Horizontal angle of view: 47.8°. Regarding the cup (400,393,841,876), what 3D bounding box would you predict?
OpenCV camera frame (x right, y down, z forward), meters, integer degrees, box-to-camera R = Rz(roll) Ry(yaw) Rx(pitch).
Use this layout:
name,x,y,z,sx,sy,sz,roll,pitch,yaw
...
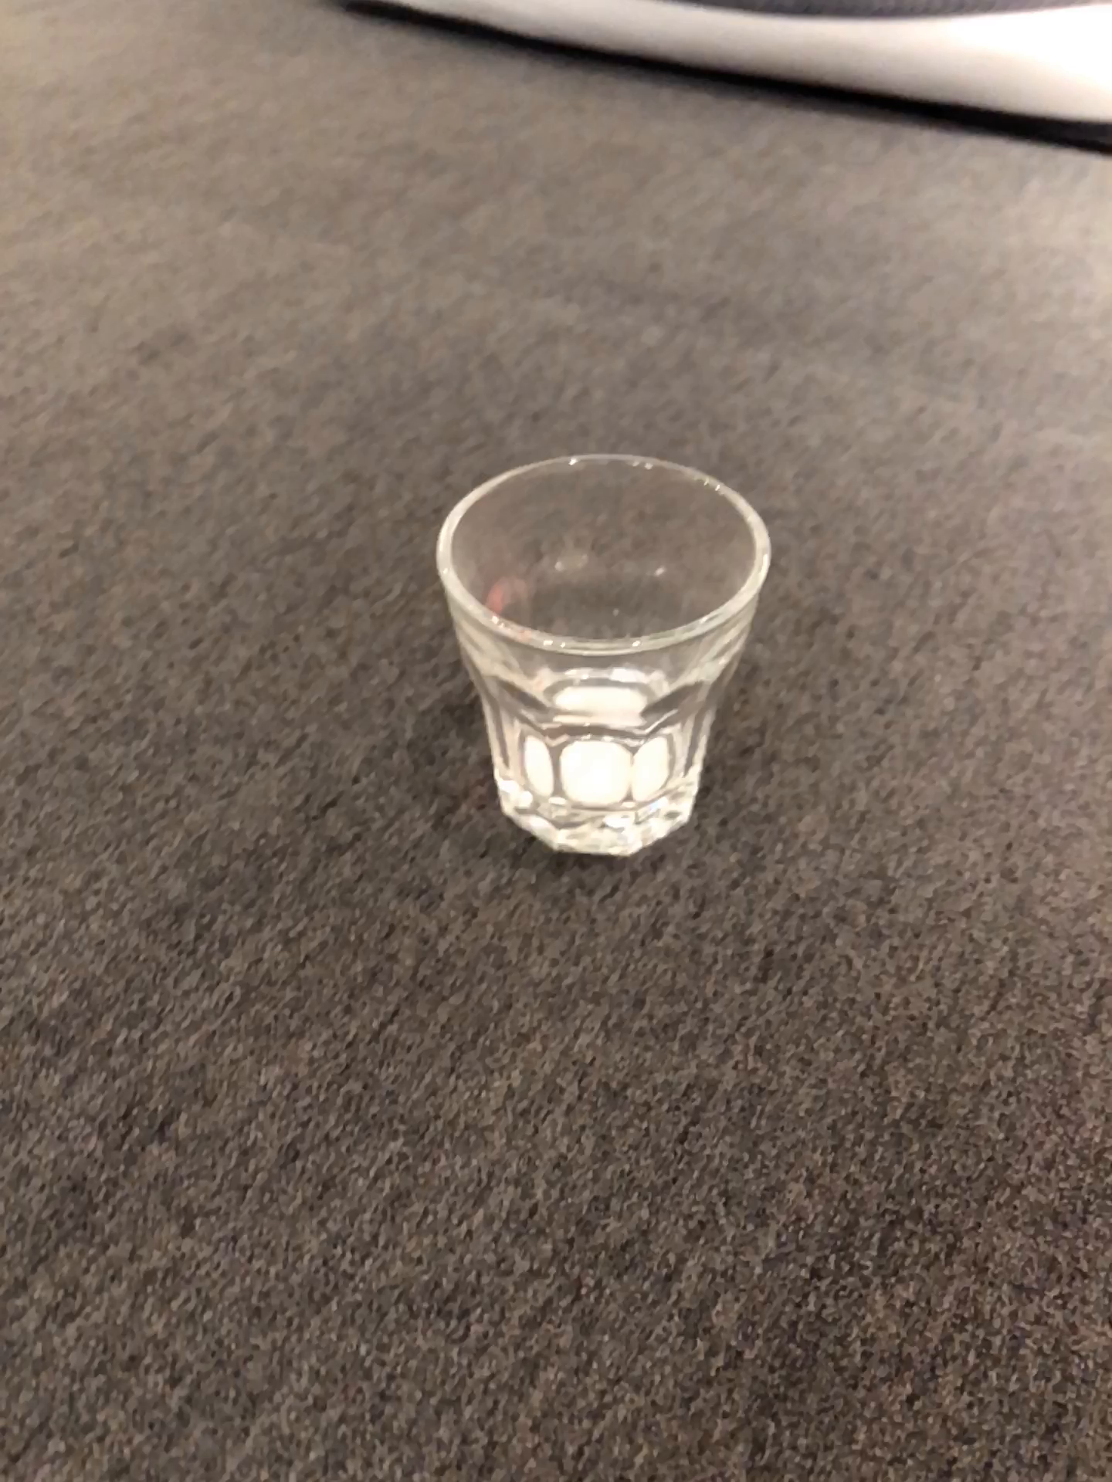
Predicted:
name,x,y,z,sx,sy,sz,roll,pitch,yaw
cup,0.011,-0.019,0.209,0.060,0.050,0.060,1,42,-1
